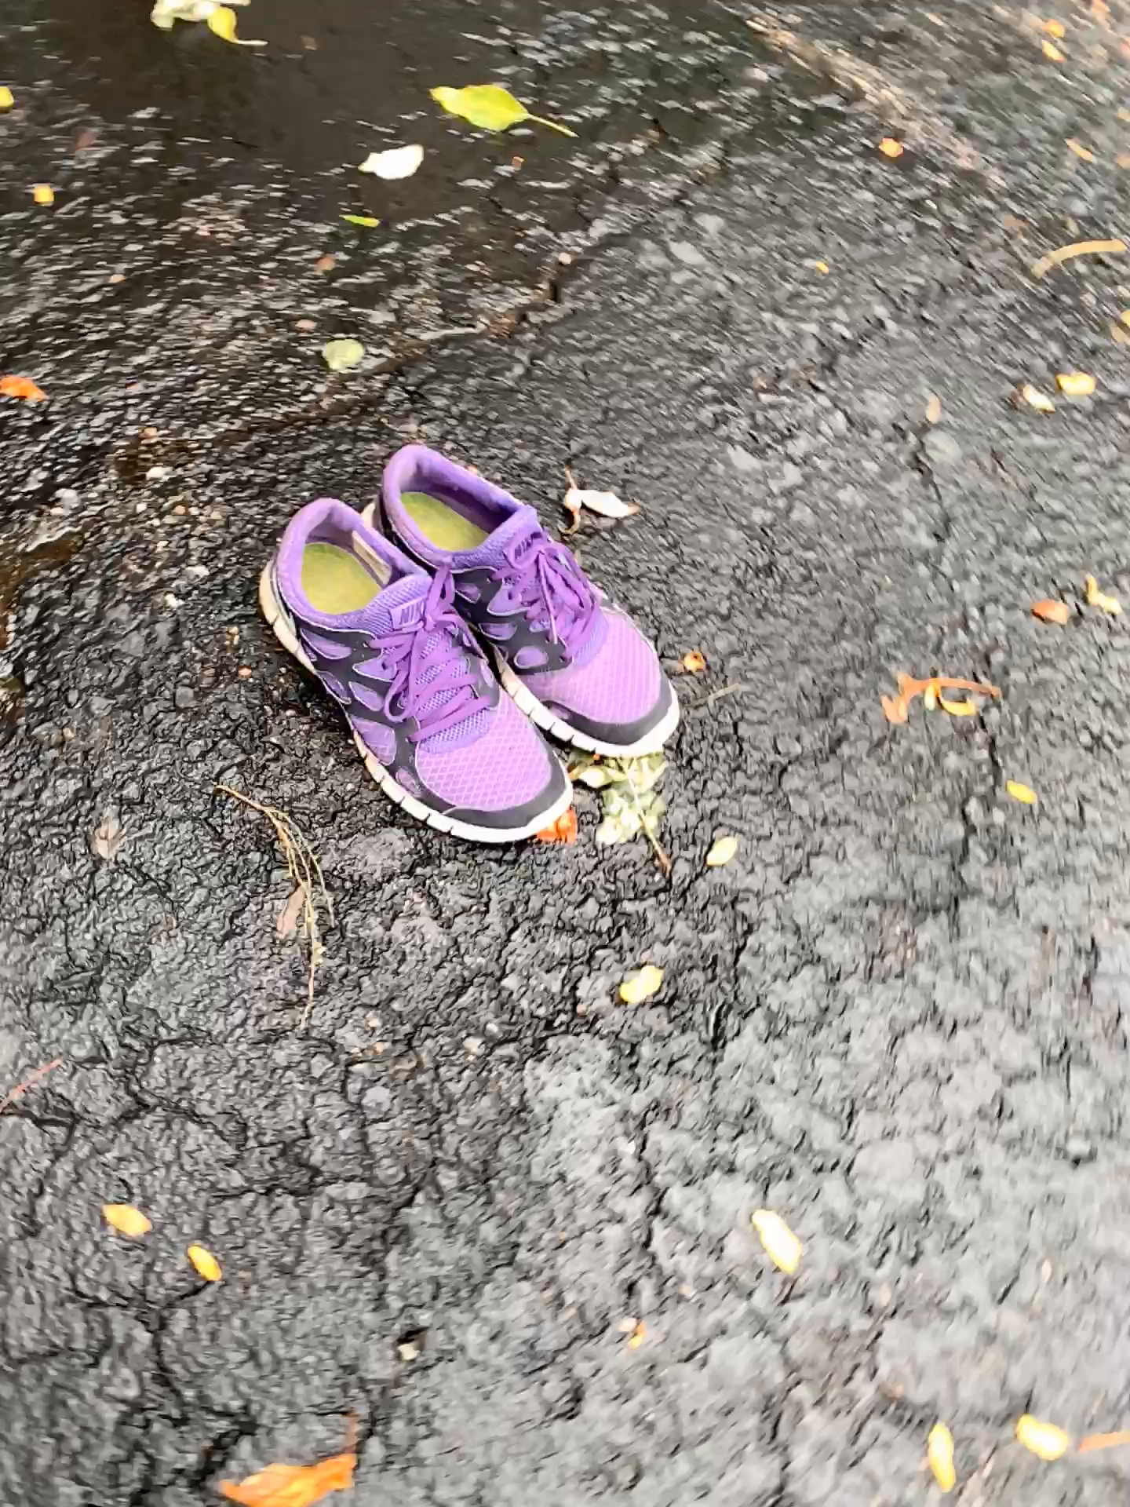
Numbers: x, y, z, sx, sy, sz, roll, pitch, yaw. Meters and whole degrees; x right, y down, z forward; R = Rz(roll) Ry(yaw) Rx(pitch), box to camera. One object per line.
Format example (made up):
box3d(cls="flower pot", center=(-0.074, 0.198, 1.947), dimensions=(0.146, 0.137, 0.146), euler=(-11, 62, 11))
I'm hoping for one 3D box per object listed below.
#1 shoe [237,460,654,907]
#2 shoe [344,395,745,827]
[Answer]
box3d(cls="shoe", center=(-0.090, -0.050, 0.810), dimensions=(0.110, 0.090, 0.300), euler=(-39, 82, -25))
box3d(cls="shoe", center=(-0.021, -0.105, 0.862), dimensions=(0.110, 0.100, 0.300), euler=(-39, 85, -25))
